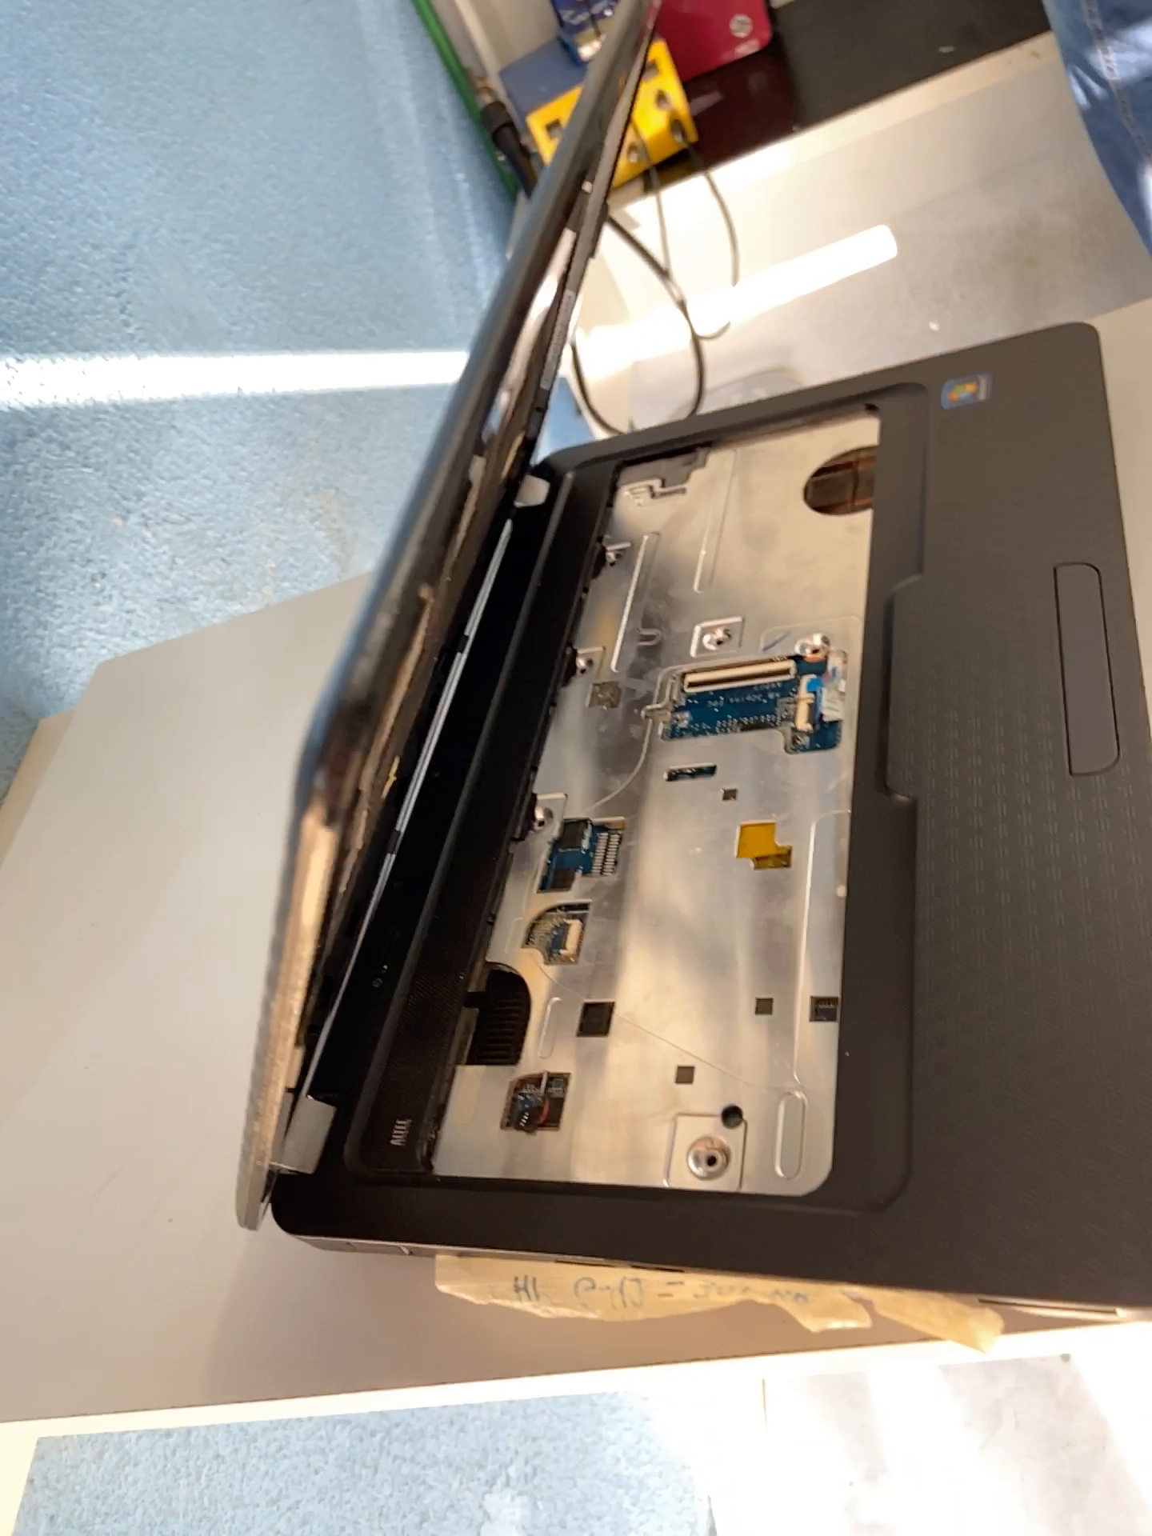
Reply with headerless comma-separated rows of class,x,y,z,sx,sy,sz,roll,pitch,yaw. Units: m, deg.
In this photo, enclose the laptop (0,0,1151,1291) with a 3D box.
laptop,0.012,-0.069,0.310,0.222,0.153,0.328,-8,46,26
